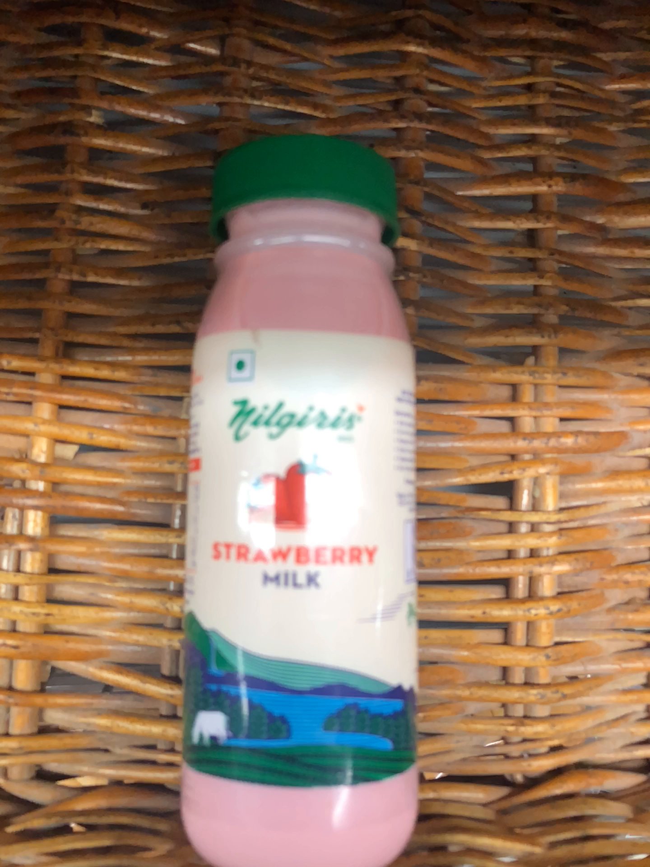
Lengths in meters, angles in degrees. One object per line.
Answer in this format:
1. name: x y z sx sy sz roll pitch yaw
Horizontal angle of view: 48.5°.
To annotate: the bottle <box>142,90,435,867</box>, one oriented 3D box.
1. bottle: -0.007 0.013 0.150 0.050 0.040 0.150 1 86 -6
